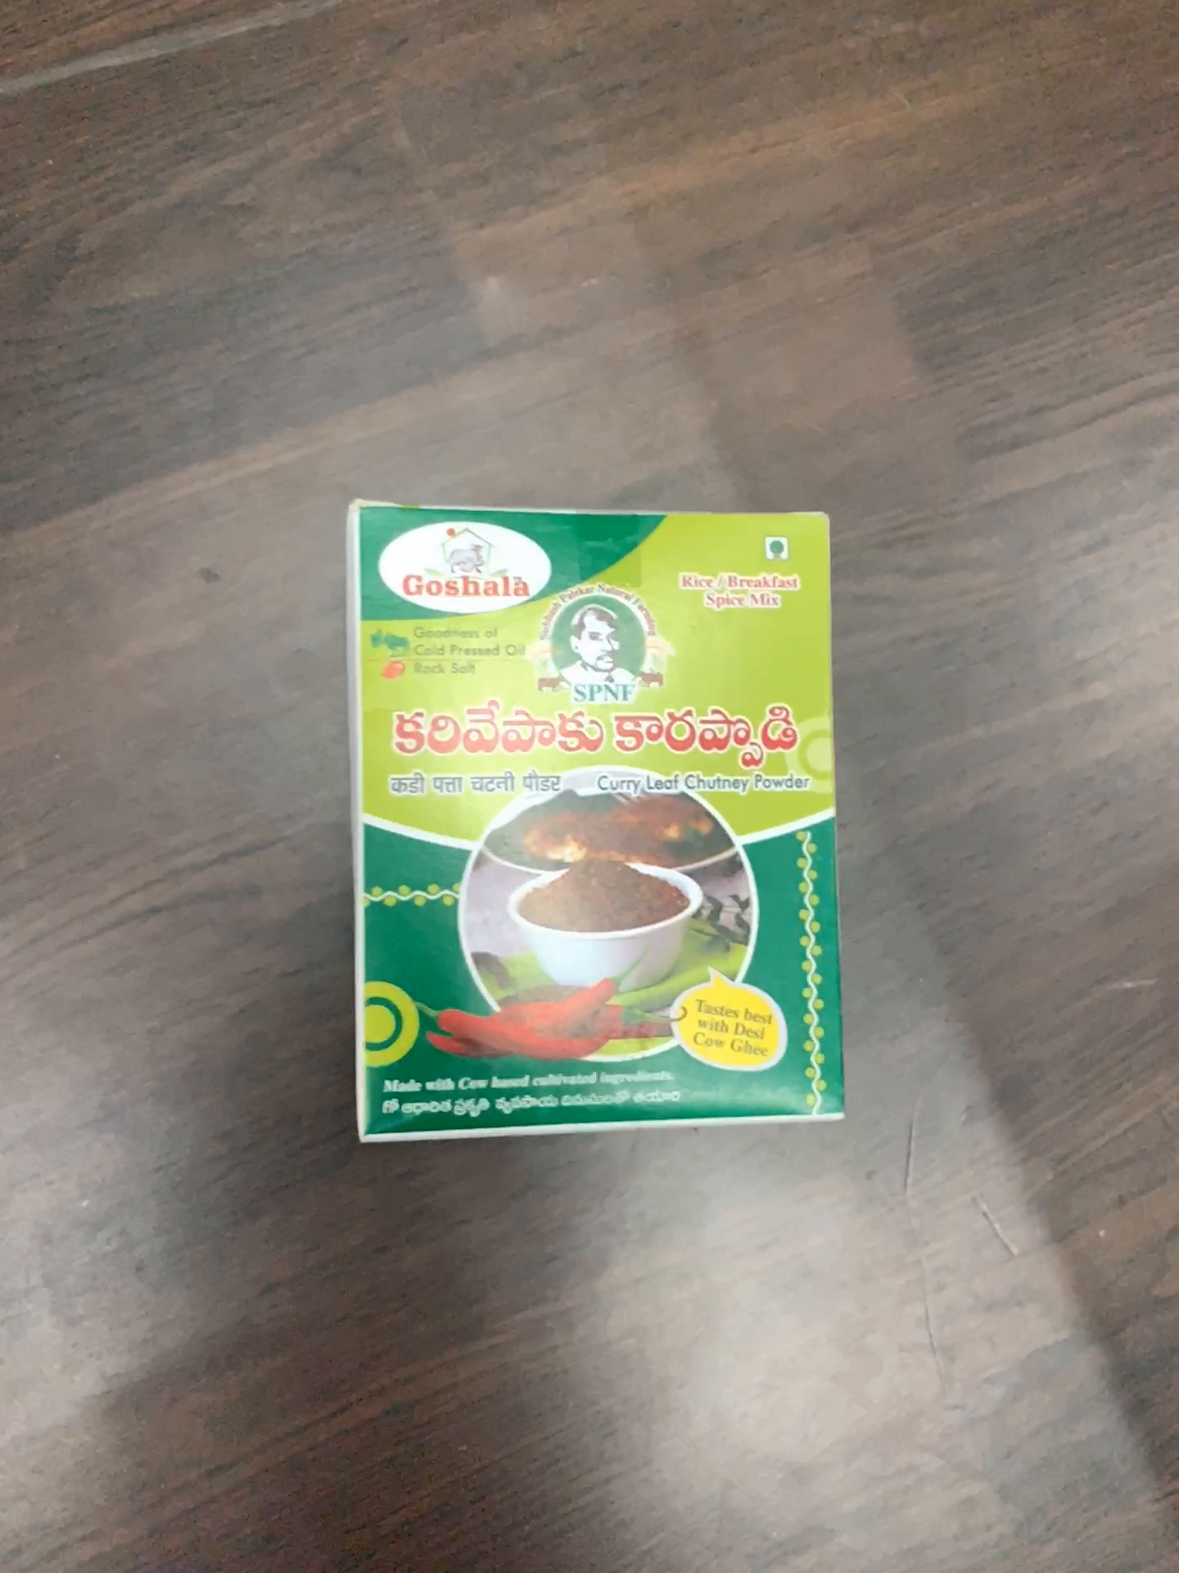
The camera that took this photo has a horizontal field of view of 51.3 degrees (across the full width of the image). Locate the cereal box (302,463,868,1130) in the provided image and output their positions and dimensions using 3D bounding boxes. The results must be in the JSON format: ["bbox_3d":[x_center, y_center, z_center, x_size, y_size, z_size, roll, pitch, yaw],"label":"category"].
[{"bbox_3d":[-0.003,0.001,0.245,0.100,0.040,0.120,-2,85,-6],"label":"cereal box"}]
